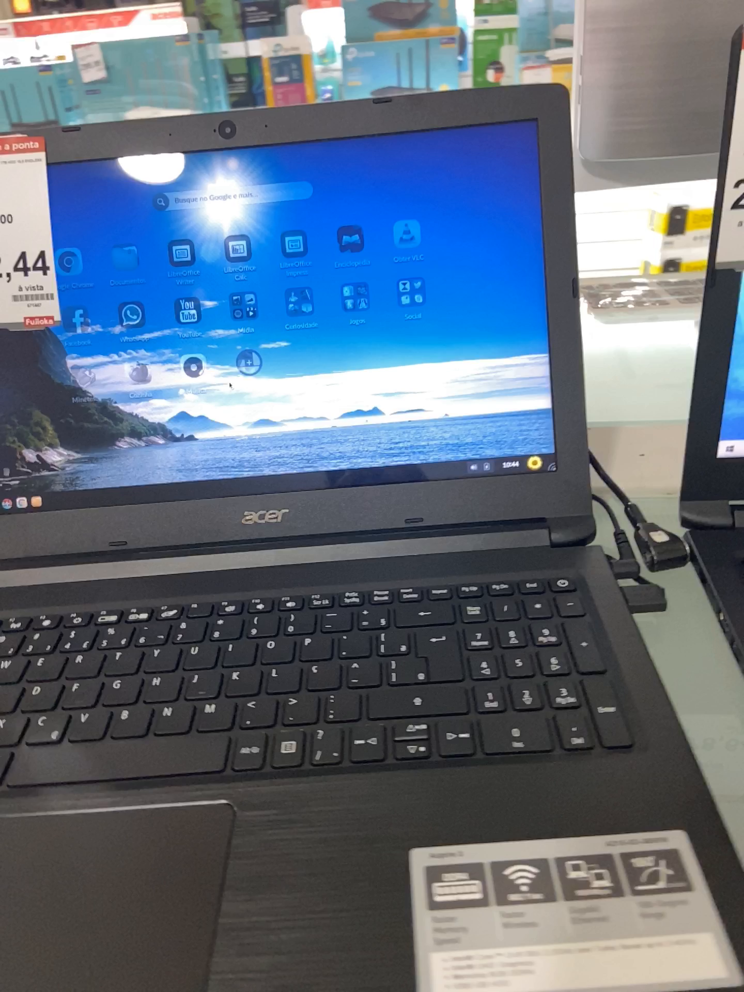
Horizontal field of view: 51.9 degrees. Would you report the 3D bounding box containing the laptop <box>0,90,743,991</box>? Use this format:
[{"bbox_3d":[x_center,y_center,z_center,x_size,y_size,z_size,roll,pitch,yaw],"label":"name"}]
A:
[{"bbox_3d":[-0.072,-0.020,0.334,0.389,0.226,0.377,-4,31,2],"label":"laptop"}]
